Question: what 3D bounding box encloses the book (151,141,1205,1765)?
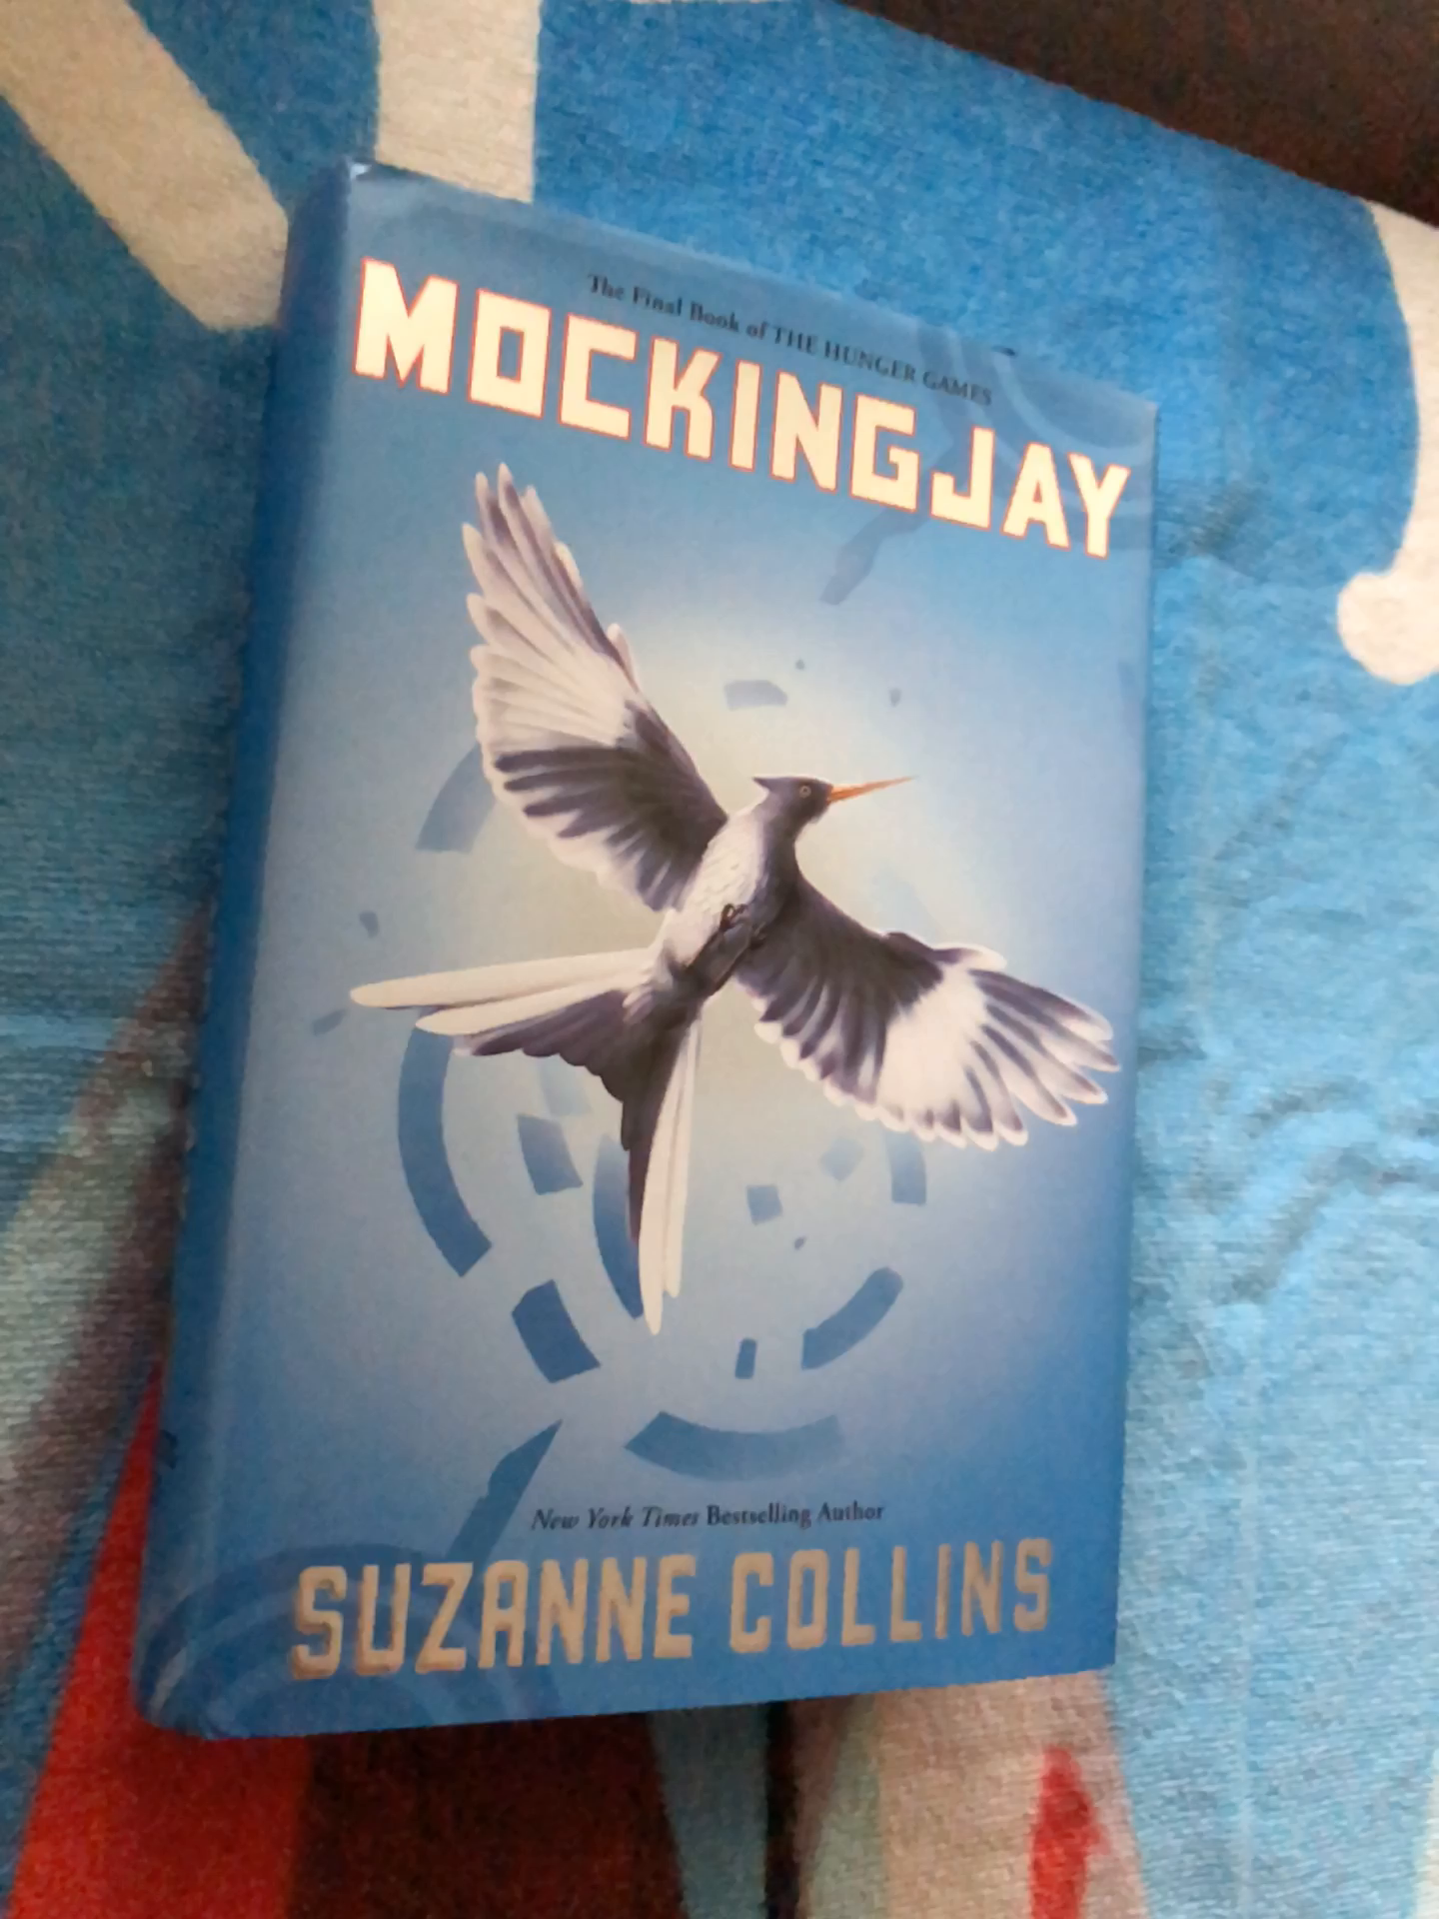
[{"bbox_3d":[0.001,0.002,0.240,0.140,0.040,0.200,7,82,-22],"label":"book"}]
